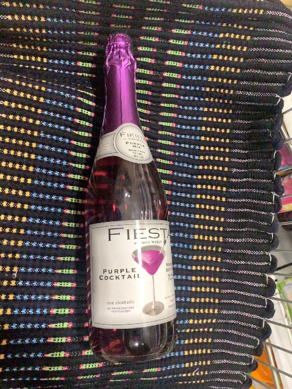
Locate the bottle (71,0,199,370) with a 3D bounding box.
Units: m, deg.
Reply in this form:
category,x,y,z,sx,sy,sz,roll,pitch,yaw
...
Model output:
category,x,y,z,sx,sy,sz,roll,pitch,yaw
bottle,-0.023,-0.029,0.297,0.080,0.080,0.330,1,75,-22
